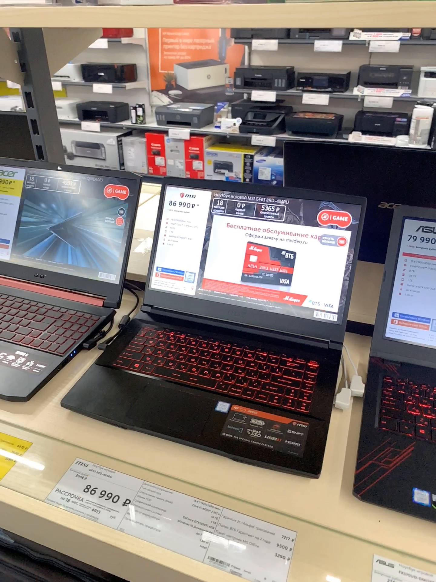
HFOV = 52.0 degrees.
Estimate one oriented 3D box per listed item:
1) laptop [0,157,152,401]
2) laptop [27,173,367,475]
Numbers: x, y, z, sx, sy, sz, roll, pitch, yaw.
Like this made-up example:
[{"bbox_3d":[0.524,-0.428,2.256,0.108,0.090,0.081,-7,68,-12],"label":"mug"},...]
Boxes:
[{"bbox_3d":[-0.361,-0.060,0.753,0.334,0.211,0.373,11,33,18],"label":"laptop"},{"bbox_3d":[0.010,0.000,0.658,0.350,0.204,0.372,10,33,16],"label":"laptop"}]
